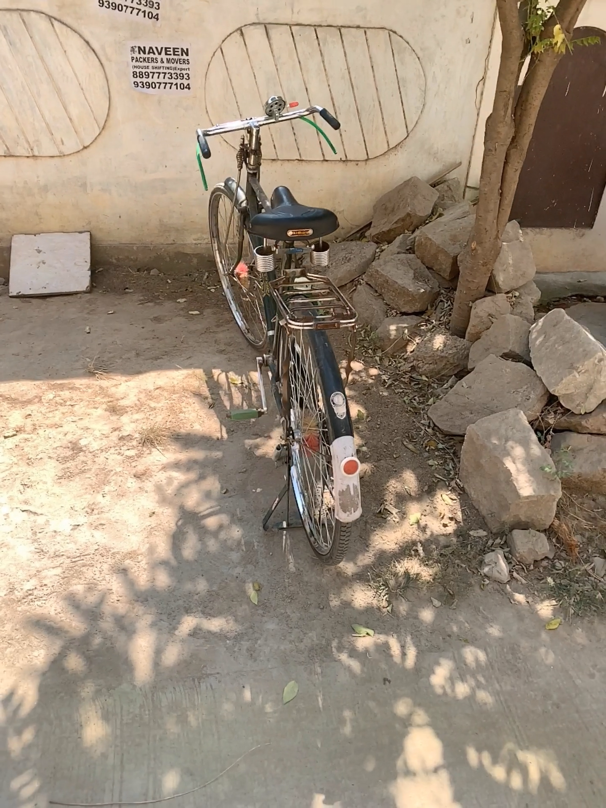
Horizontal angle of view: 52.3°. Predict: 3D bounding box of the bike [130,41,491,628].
[{"bbox_3d":[-0.160,-0.392,1.935,0.465,0.994,1.661,-8,39,-16],"label":"bike"}]
